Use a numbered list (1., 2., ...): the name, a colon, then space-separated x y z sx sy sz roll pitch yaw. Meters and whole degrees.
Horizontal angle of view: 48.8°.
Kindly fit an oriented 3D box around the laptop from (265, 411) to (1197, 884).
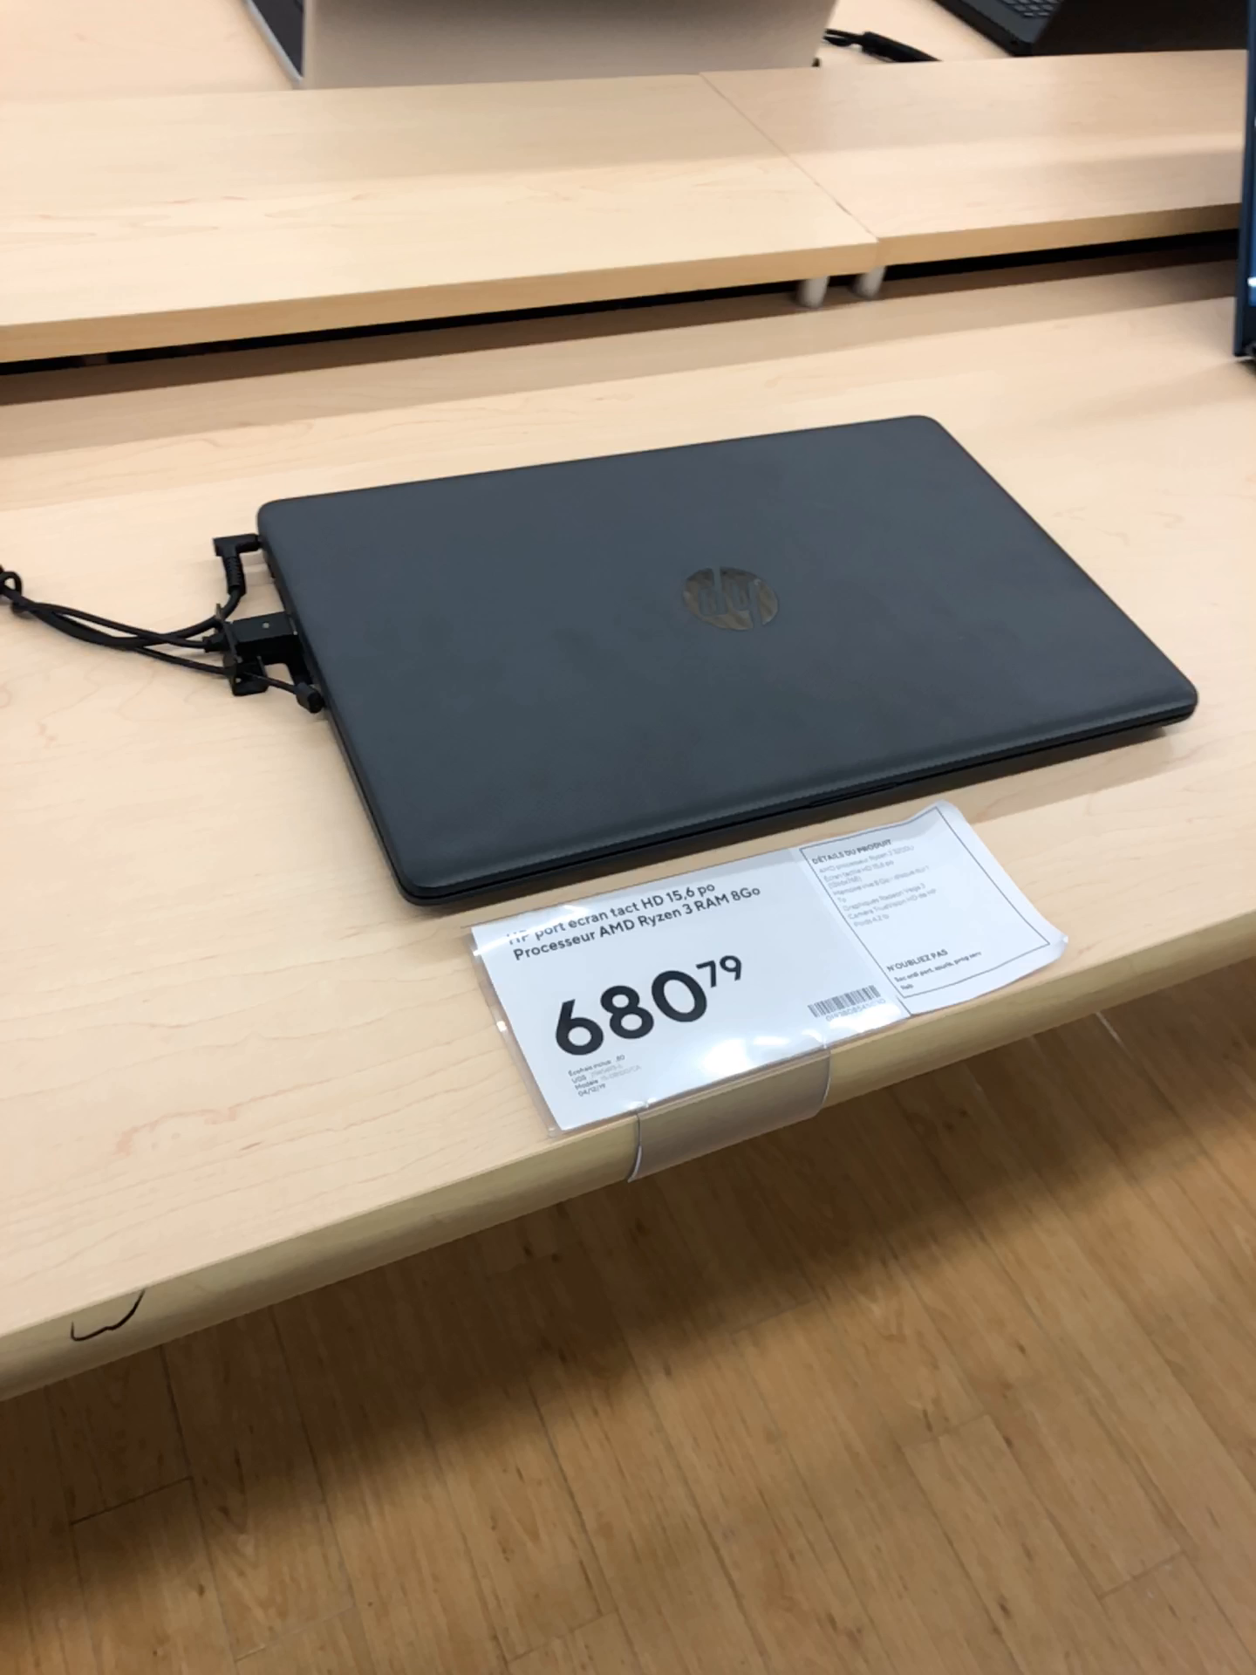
1. laptop: 0.046 -0.113 0.648 0.374 0.005 0.245 -14 51 -21
